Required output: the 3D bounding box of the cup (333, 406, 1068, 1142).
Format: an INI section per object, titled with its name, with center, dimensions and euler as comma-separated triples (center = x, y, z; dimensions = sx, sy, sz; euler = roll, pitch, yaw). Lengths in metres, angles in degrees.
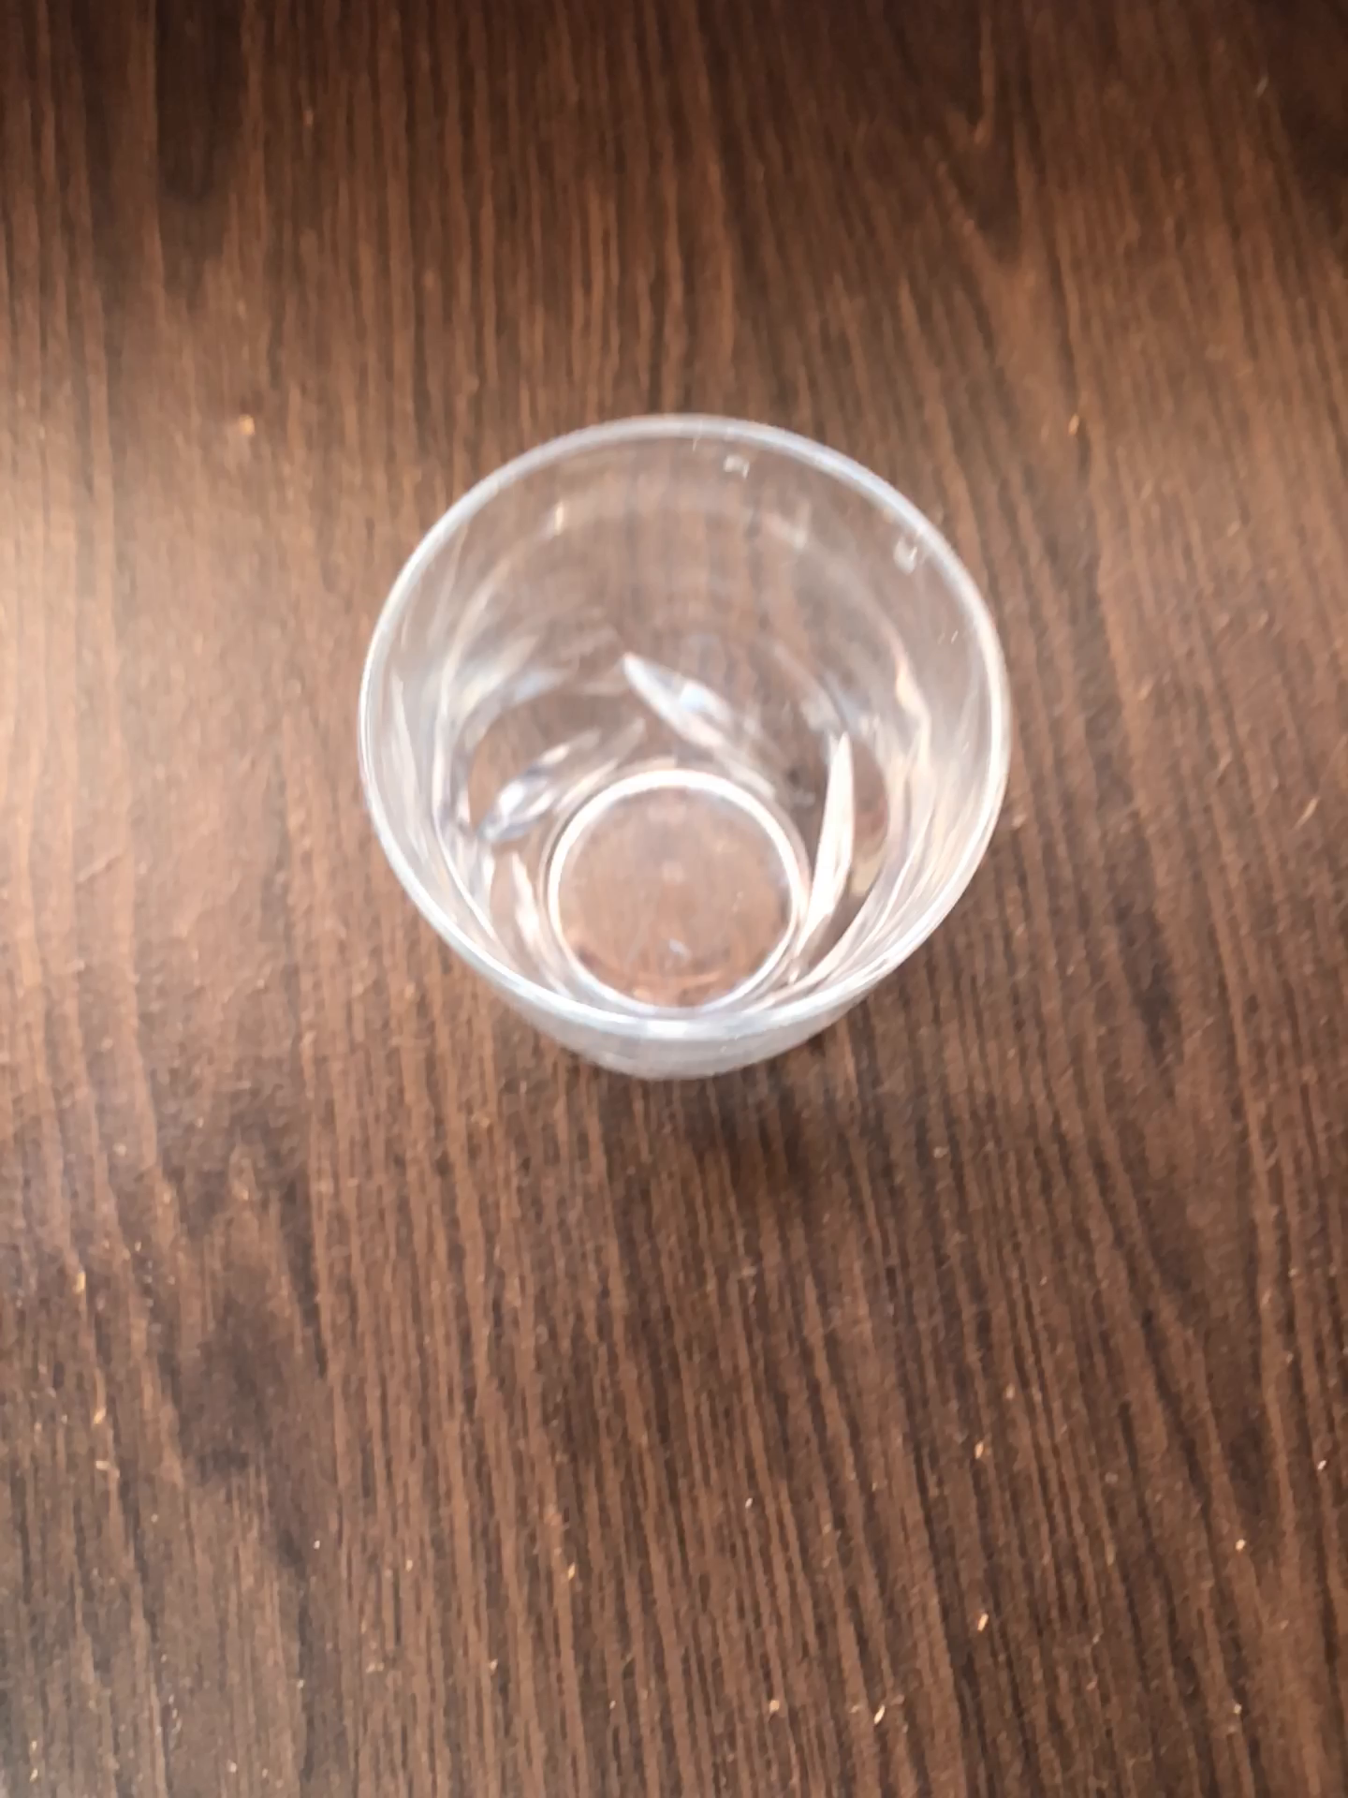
[cup]
center = 0.000, -0.010, 0.215
dimensions = 0.078, 0.085, 0.075
euler = 0, 76, -1
